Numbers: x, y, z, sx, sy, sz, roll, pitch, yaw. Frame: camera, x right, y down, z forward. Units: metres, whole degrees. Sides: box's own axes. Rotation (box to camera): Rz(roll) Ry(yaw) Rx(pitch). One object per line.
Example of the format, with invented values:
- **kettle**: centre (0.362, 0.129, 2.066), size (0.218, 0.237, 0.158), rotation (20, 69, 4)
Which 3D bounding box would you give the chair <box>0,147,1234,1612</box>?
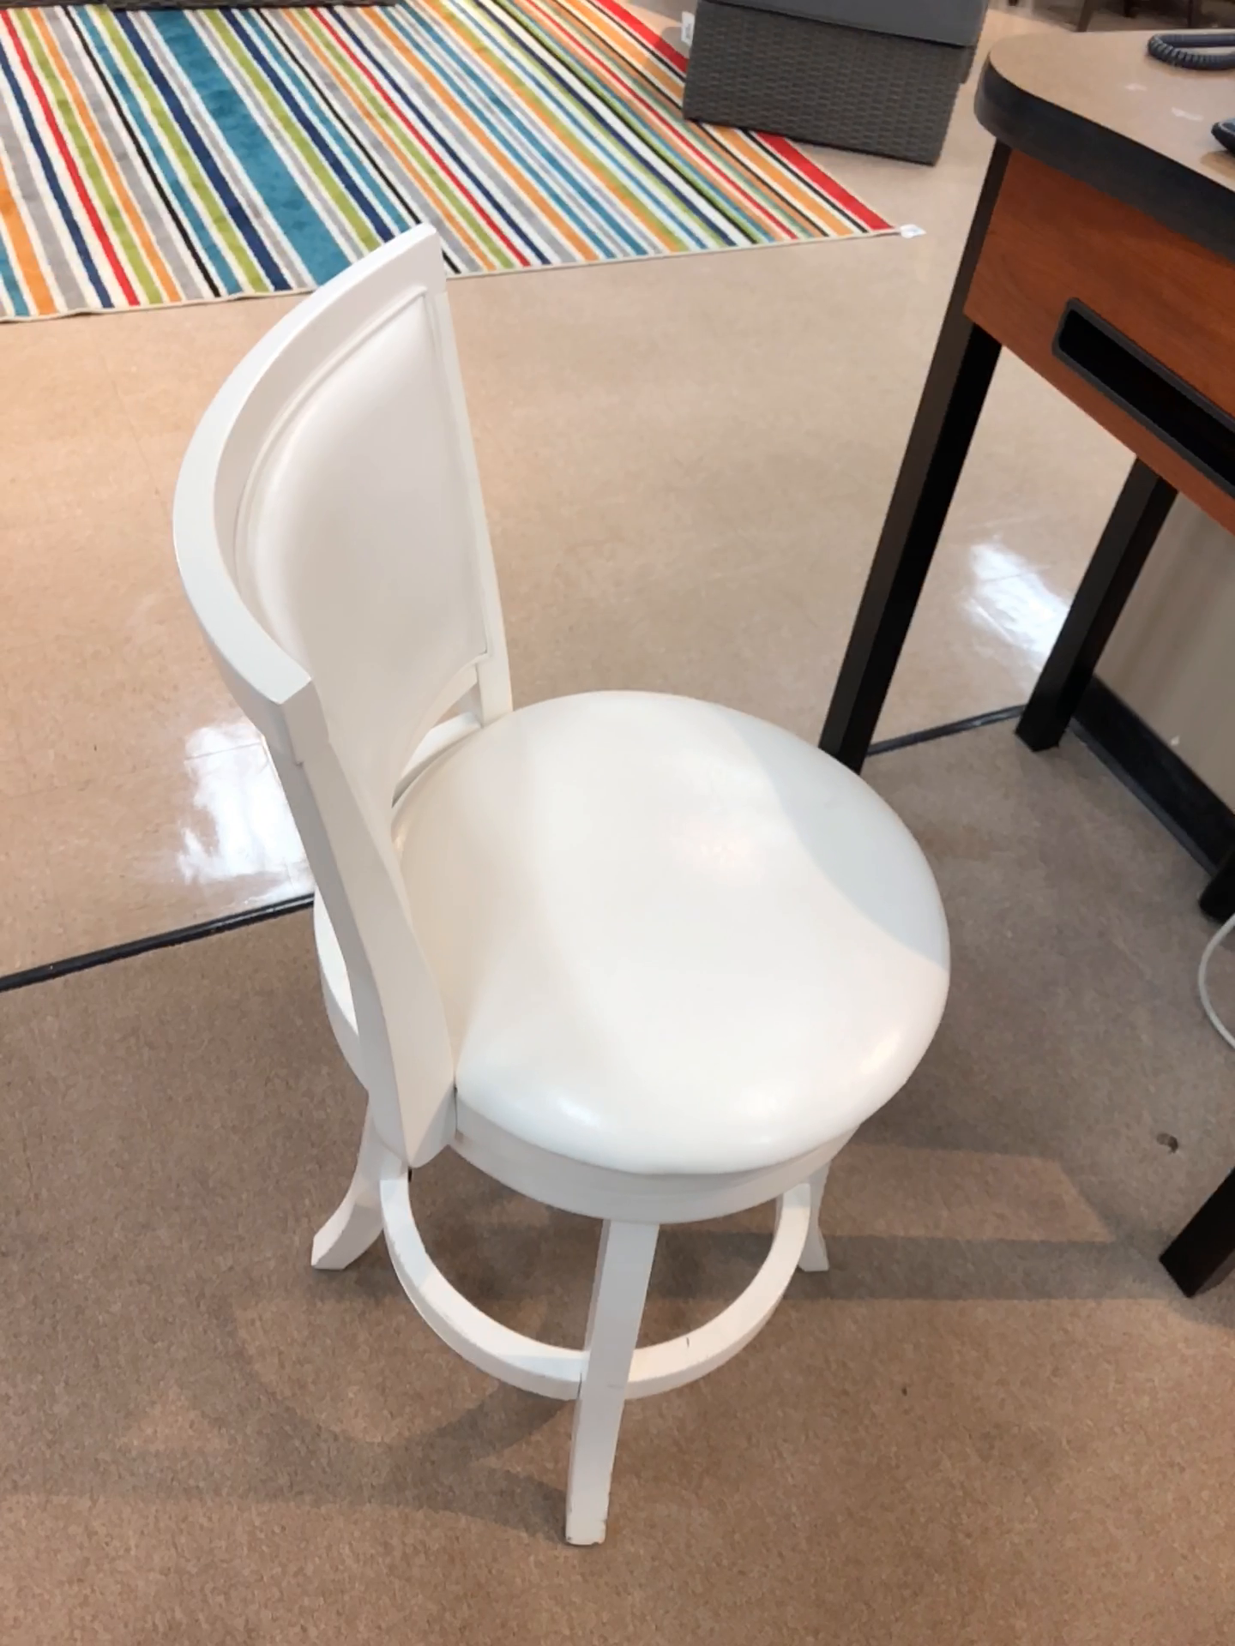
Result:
- **chair**: centre (0.011, 0.110, 1.083), size (0.570, 0.944, 0.624), rotation (9, 46, 0)
